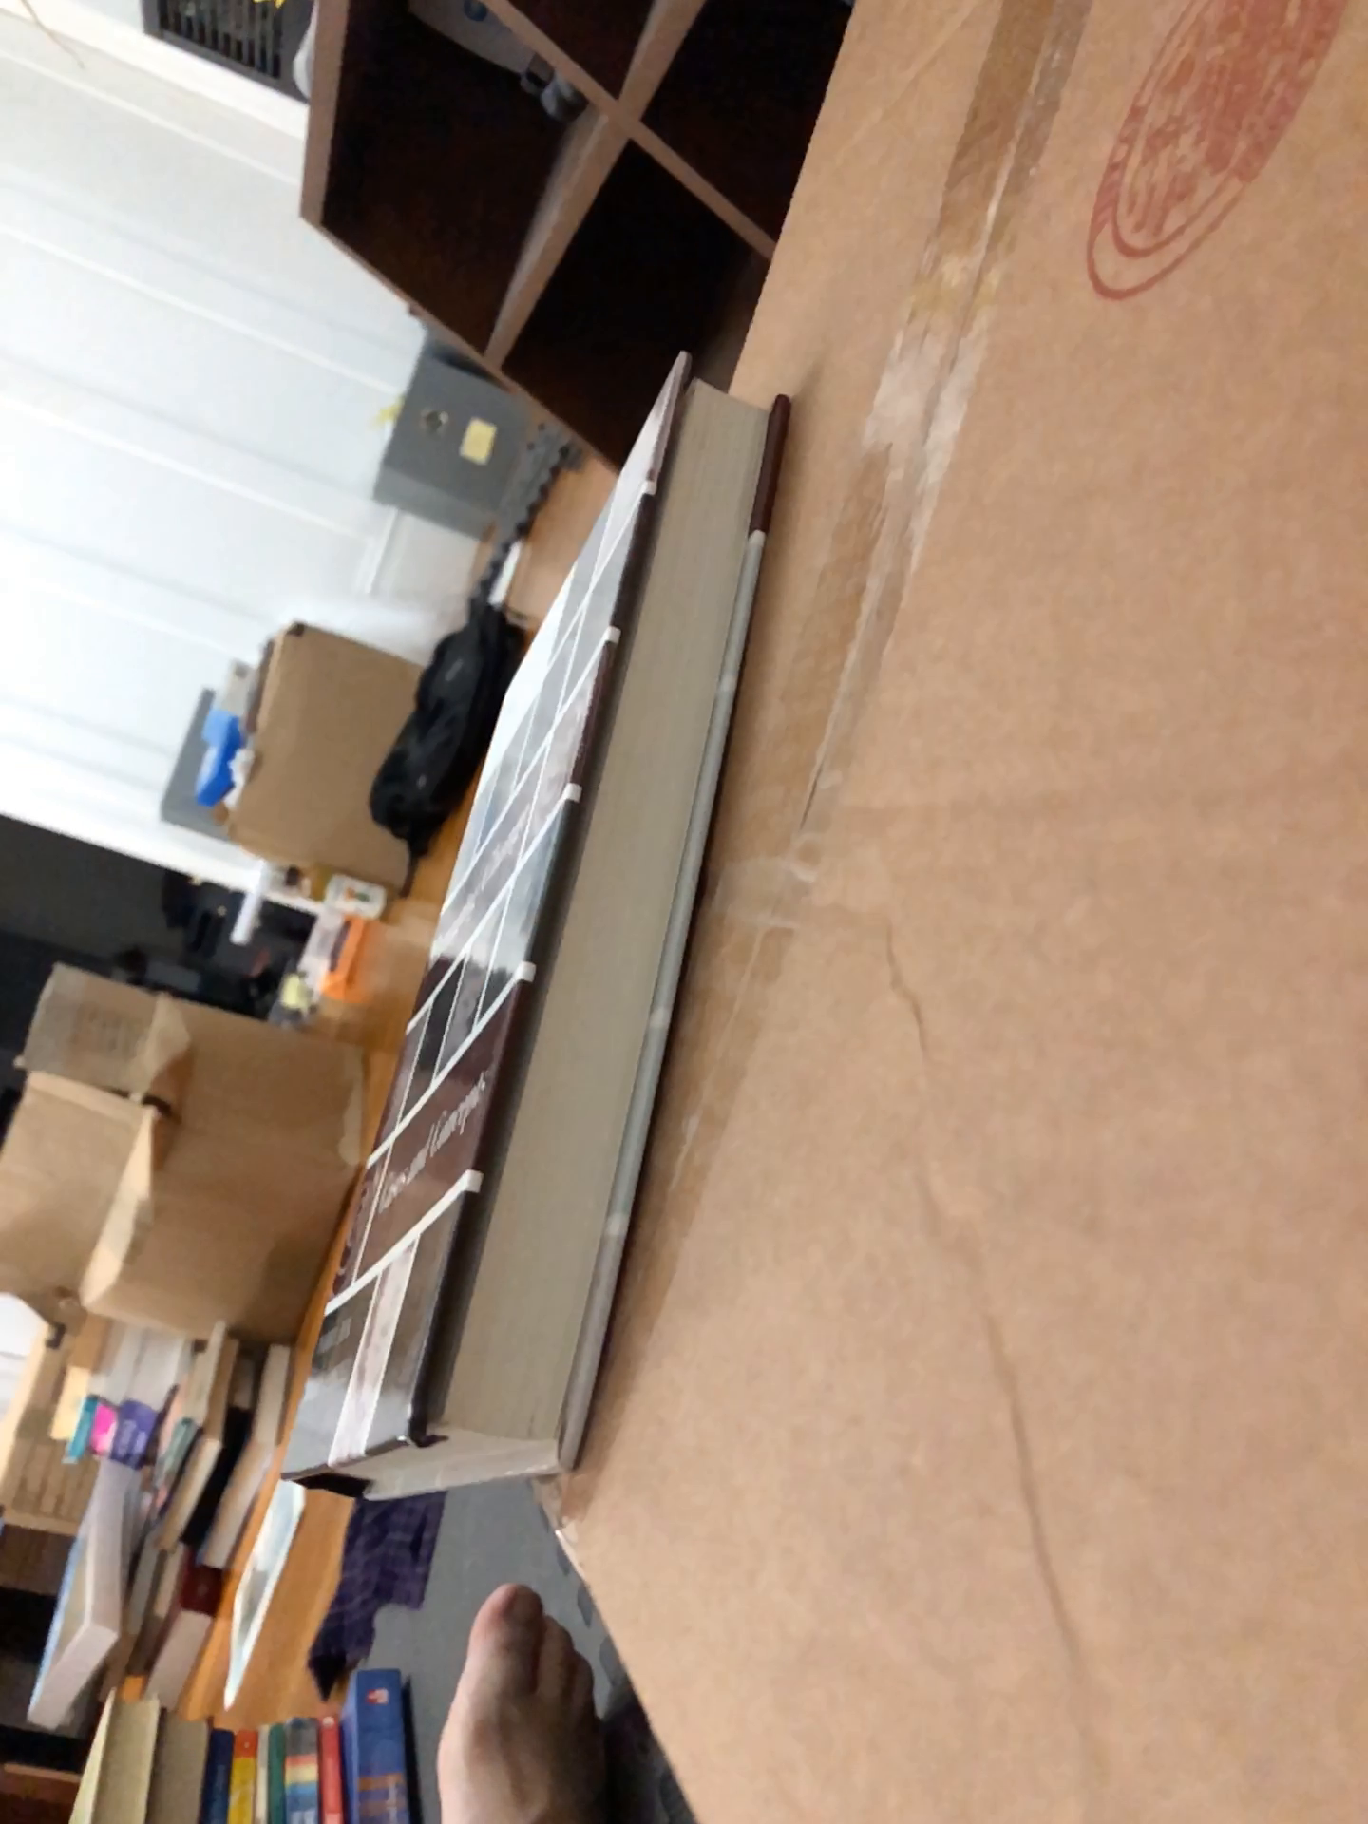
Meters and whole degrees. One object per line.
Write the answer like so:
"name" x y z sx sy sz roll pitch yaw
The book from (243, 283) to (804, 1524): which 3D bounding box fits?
"book" -0.041 0.008 0.359 0.180 0.030 0.250 136 148 -59
